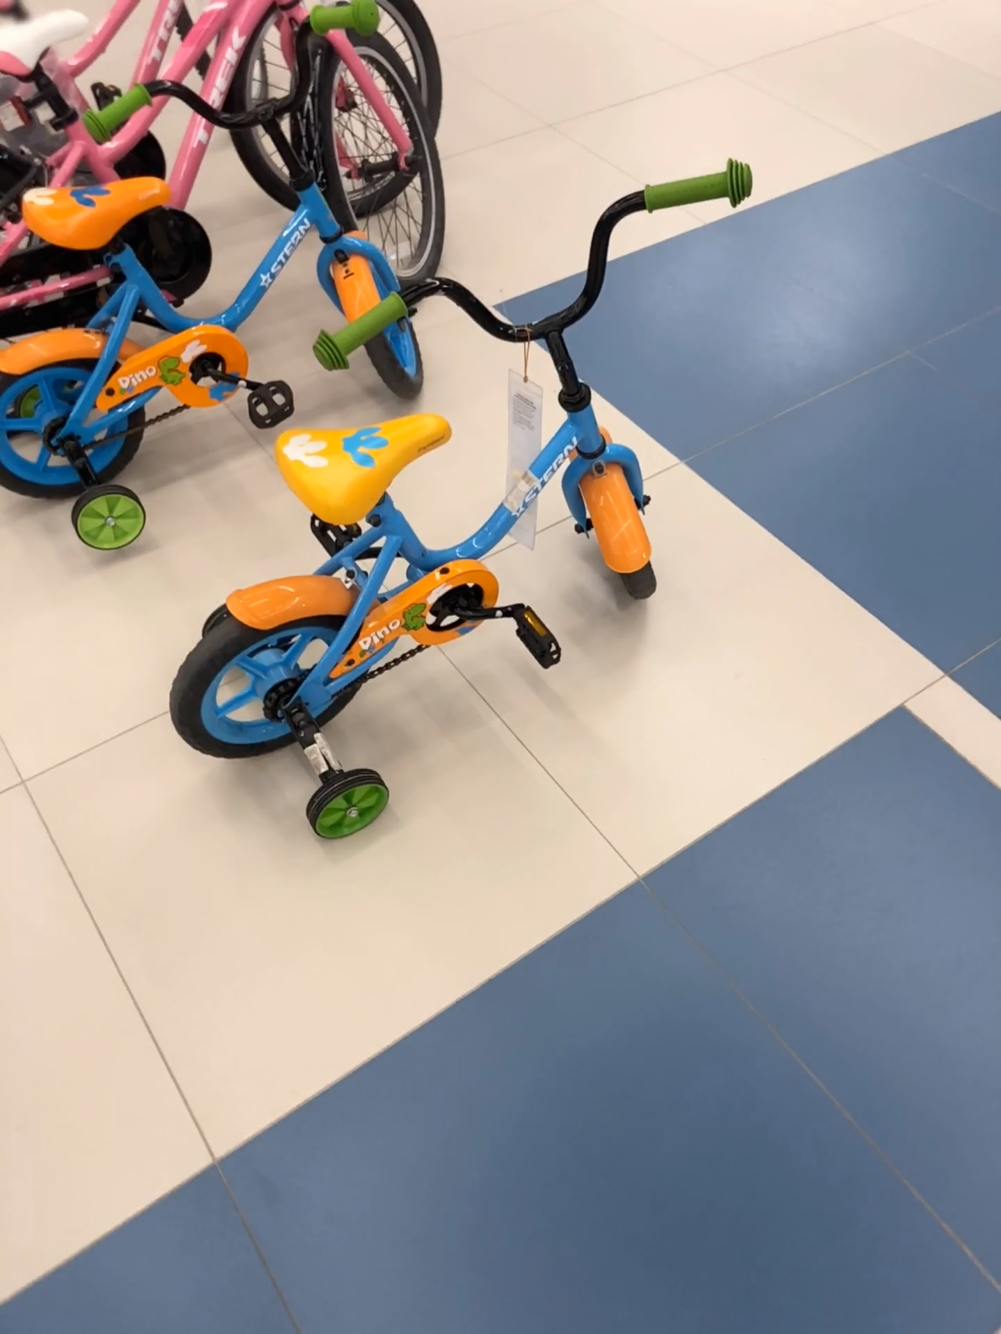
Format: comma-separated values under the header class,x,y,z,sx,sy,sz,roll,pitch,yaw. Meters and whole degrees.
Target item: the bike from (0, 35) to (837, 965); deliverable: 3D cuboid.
class,x,y,z,sx,sy,sz,roll,pitch,yaw
bike,-0.094,-0.237,1.358,0.752,0.681,0.566,-36,59,-28
